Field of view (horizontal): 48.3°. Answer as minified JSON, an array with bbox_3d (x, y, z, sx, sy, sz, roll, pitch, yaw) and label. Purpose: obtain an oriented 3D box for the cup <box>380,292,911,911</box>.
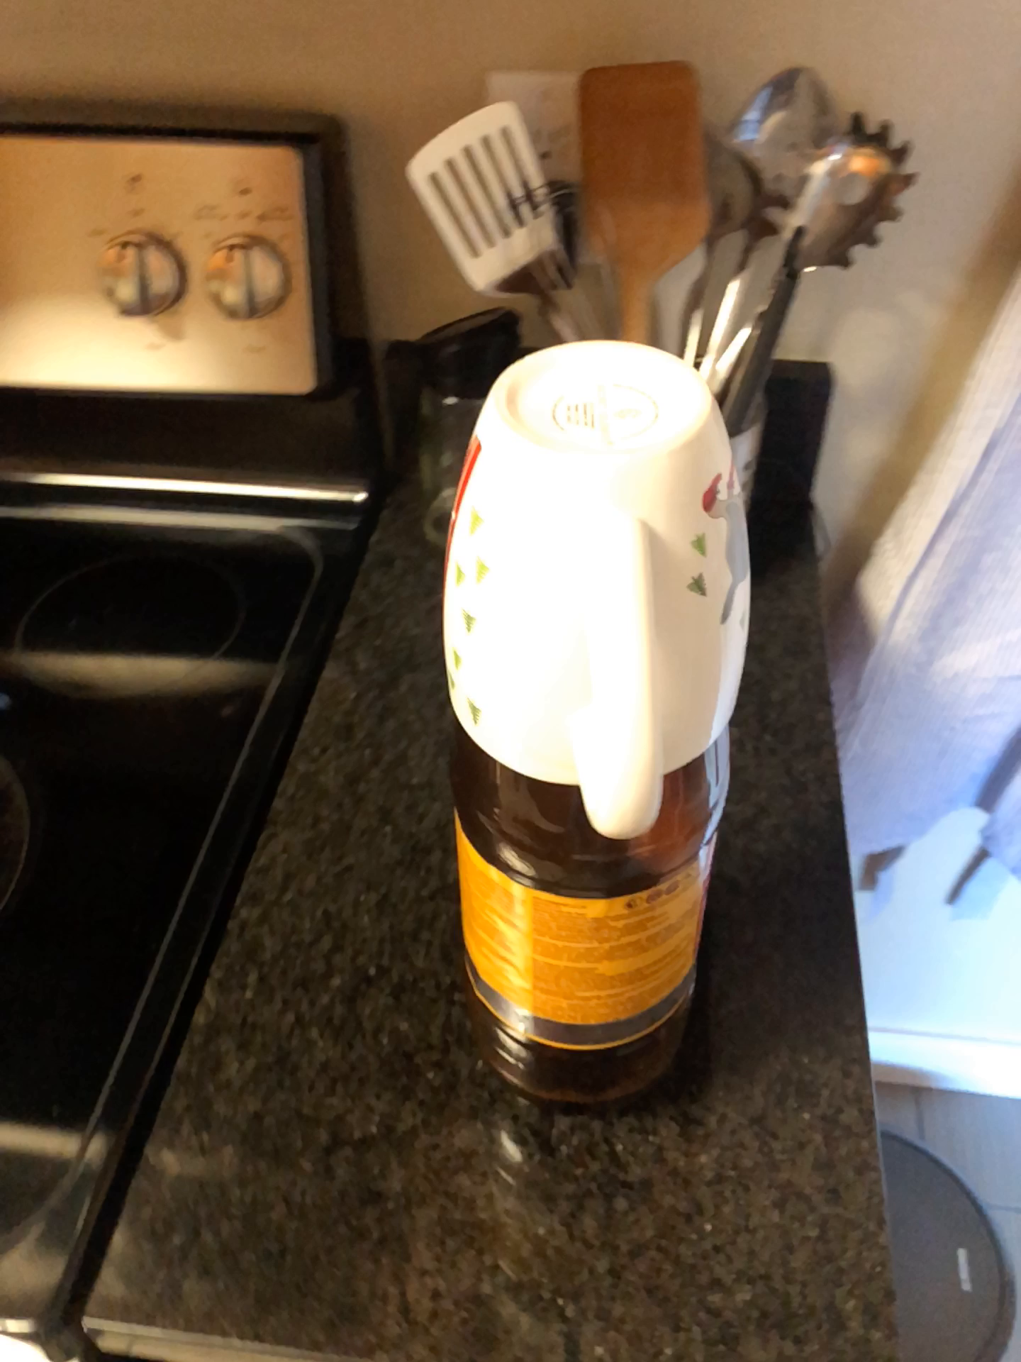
[{"bbox_3d":[0.027,-0.030,0.343,0.100,0.110,0.141,-10,43,-11],"label":"cup"}]
